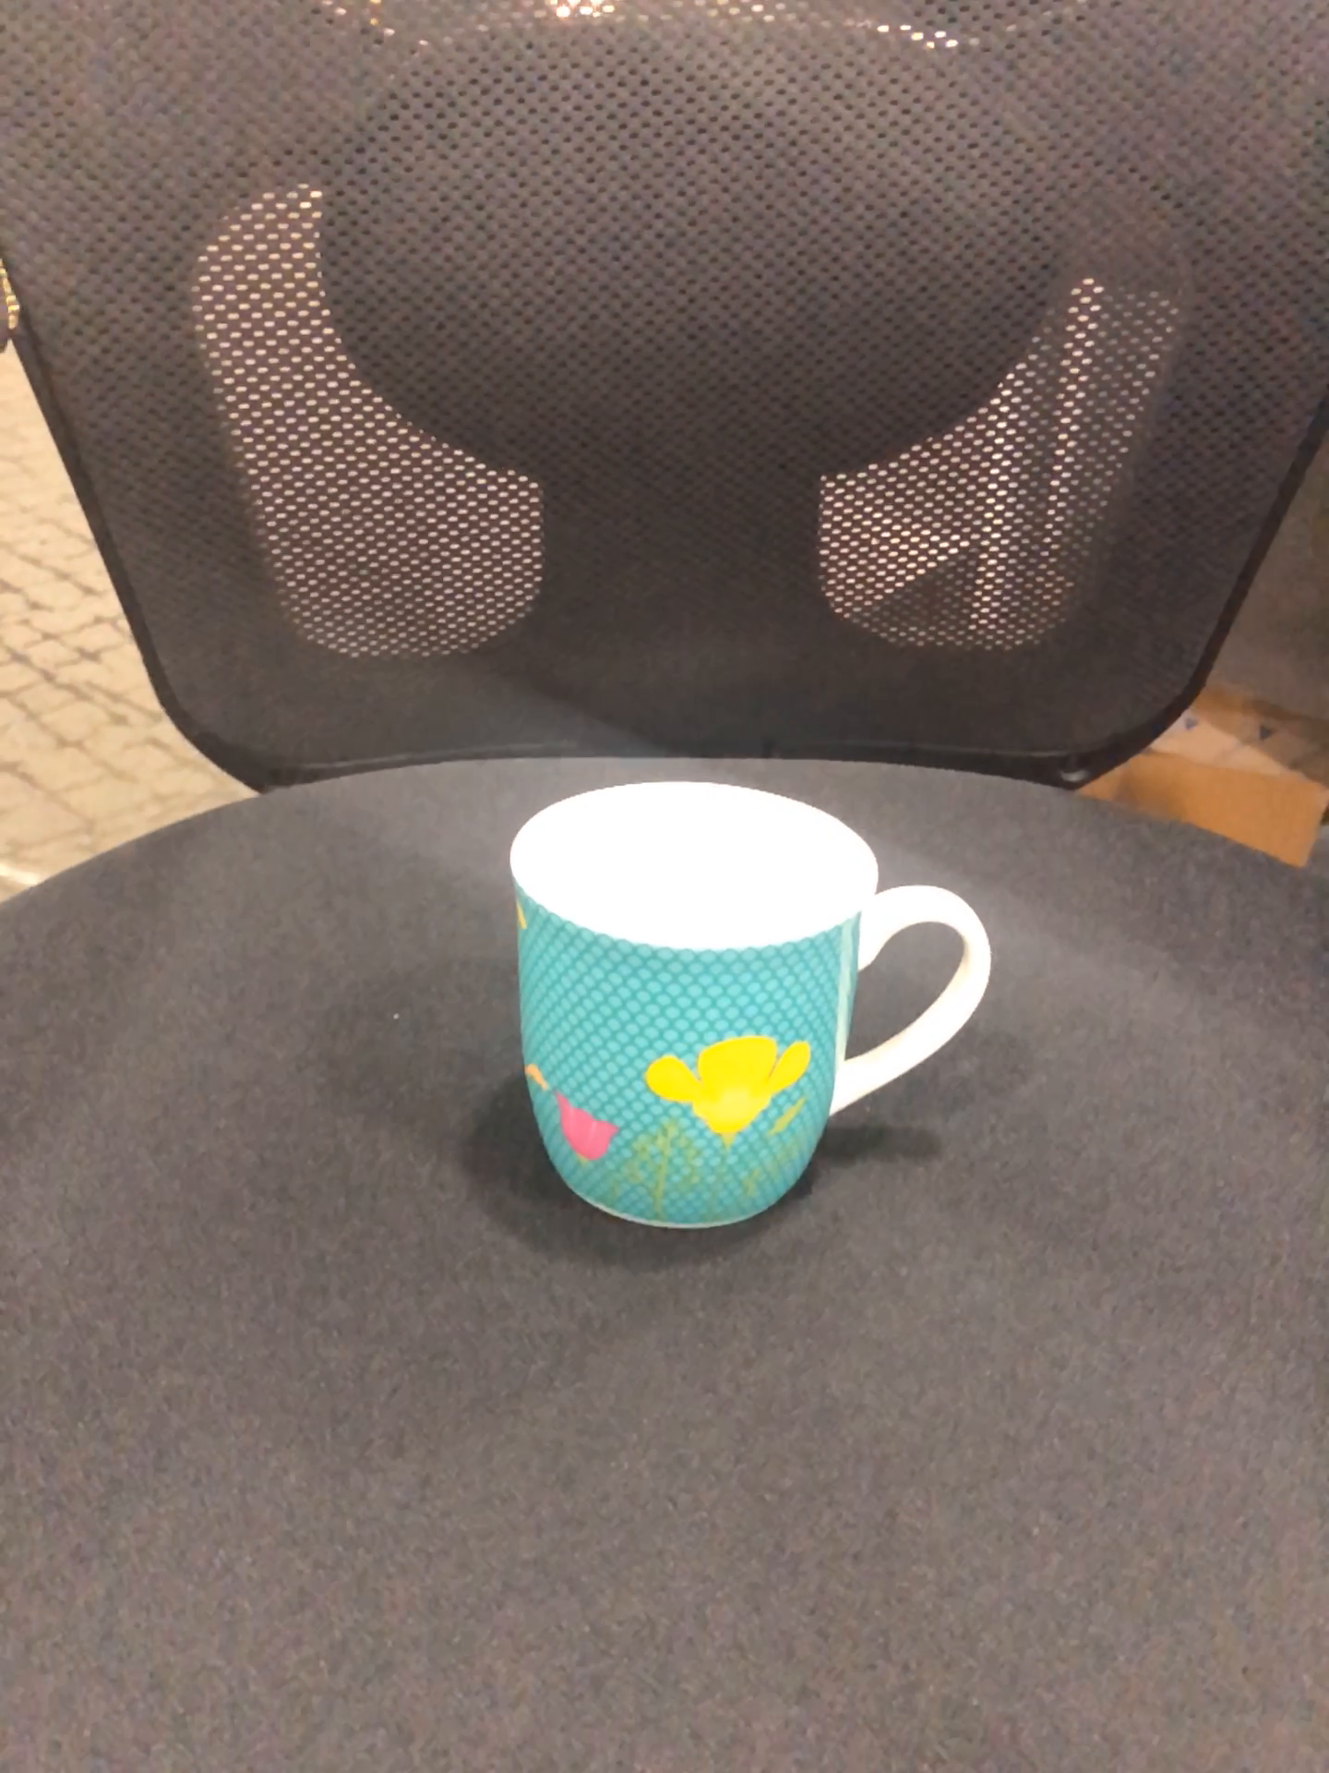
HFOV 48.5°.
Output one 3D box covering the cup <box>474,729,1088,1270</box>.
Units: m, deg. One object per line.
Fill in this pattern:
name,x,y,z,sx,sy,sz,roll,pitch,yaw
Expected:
cup,0.019,0.021,0.327,0.110,0.080,0.070,-6,33,-15
